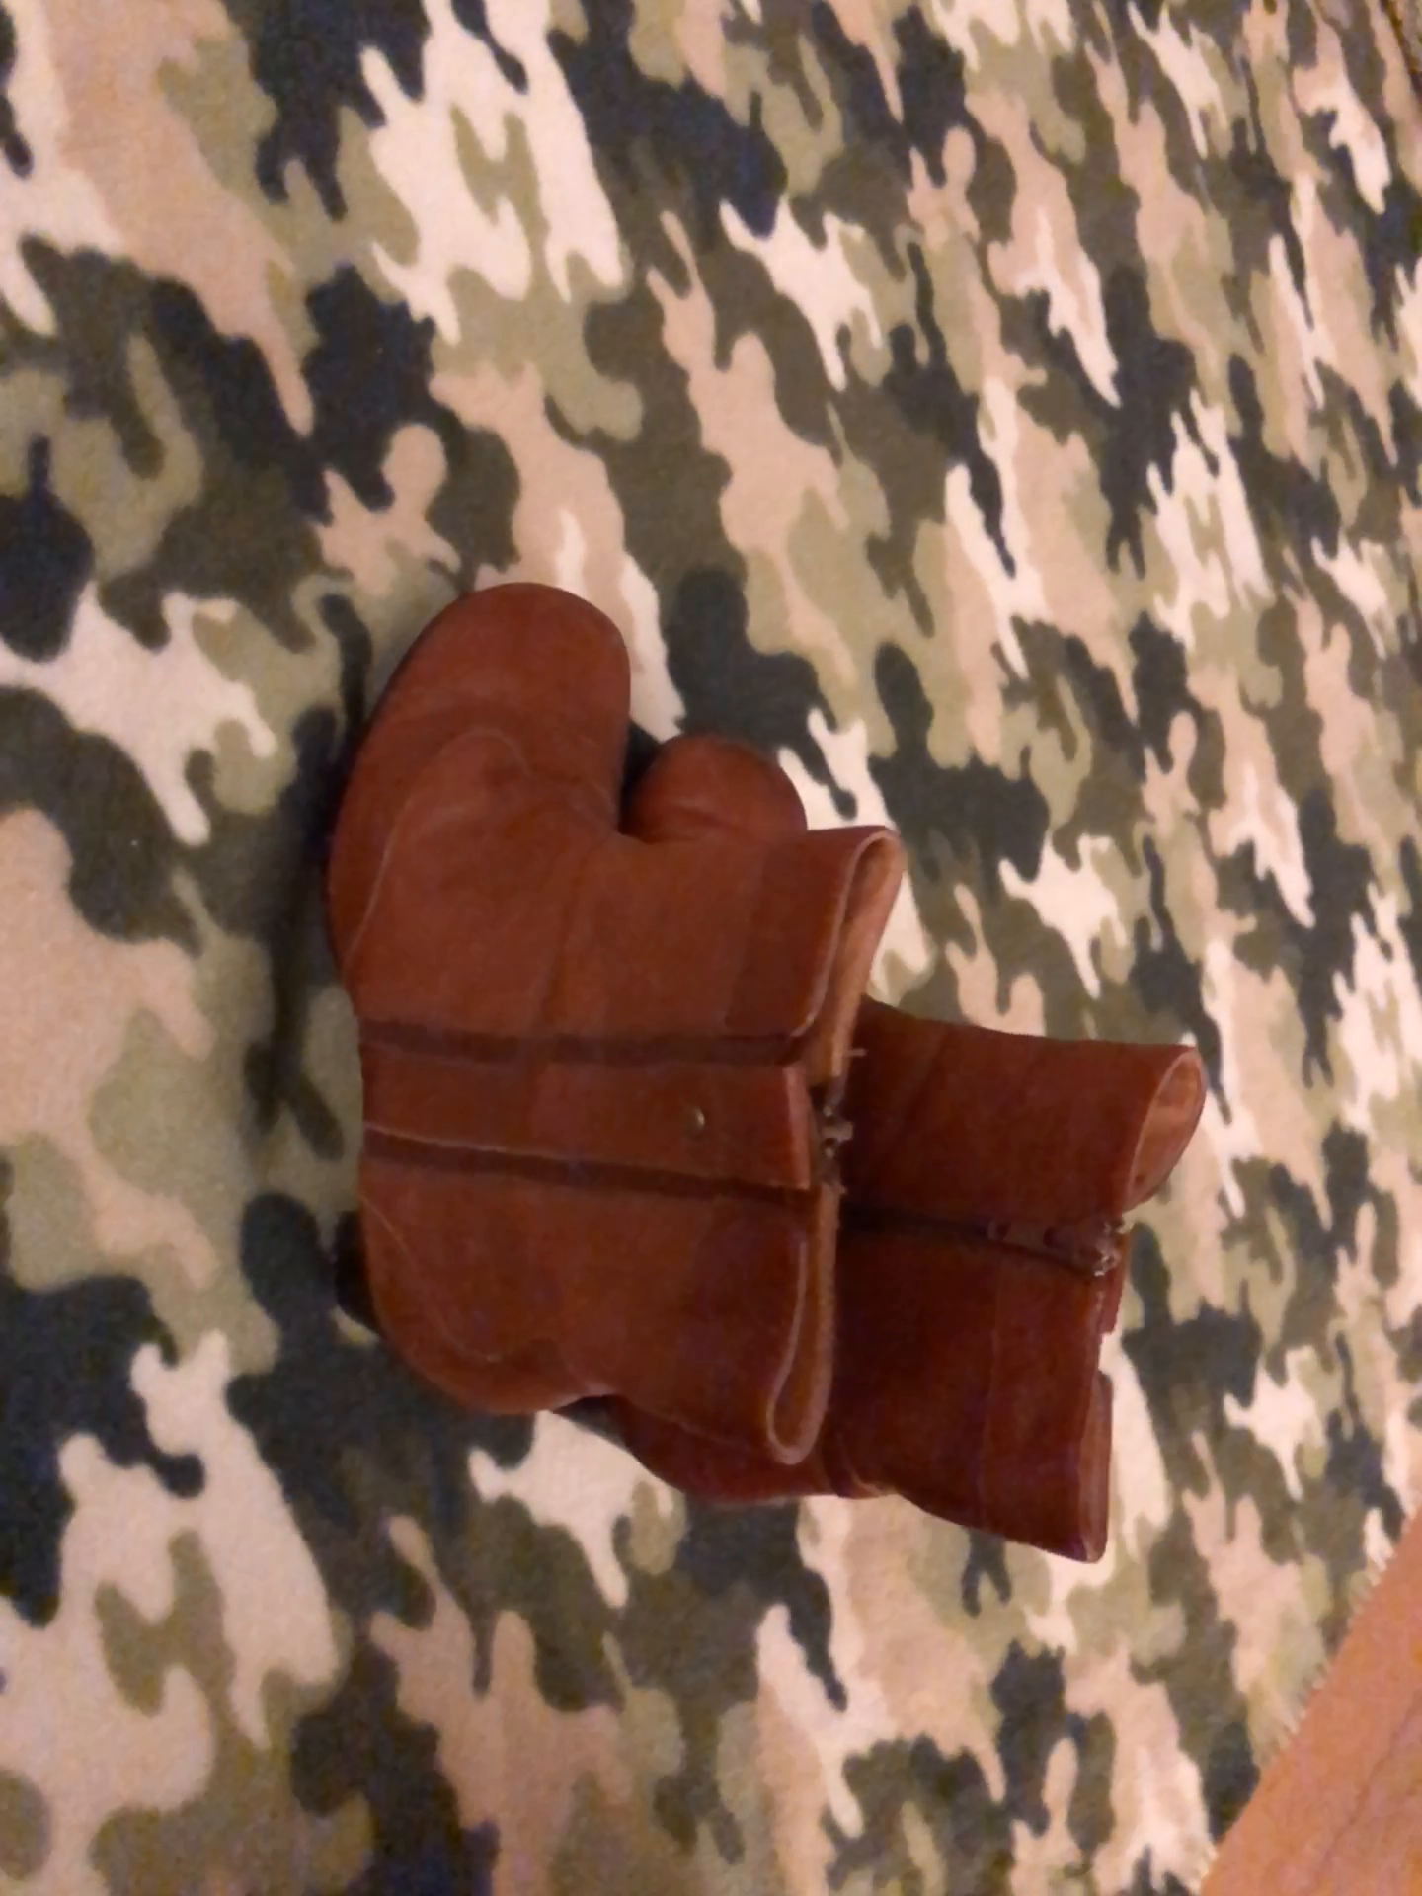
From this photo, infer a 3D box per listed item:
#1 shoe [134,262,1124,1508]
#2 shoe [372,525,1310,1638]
[{"bbox_3d":[-0.024,-0.006,0.369,0.090,0.189,0.220,26,69,-34],"label":"shoe"},{"bbox_3d":[0.030,0.033,0.408,0.090,0.189,0.220,29,67,-33],"label":"shoe"}]
